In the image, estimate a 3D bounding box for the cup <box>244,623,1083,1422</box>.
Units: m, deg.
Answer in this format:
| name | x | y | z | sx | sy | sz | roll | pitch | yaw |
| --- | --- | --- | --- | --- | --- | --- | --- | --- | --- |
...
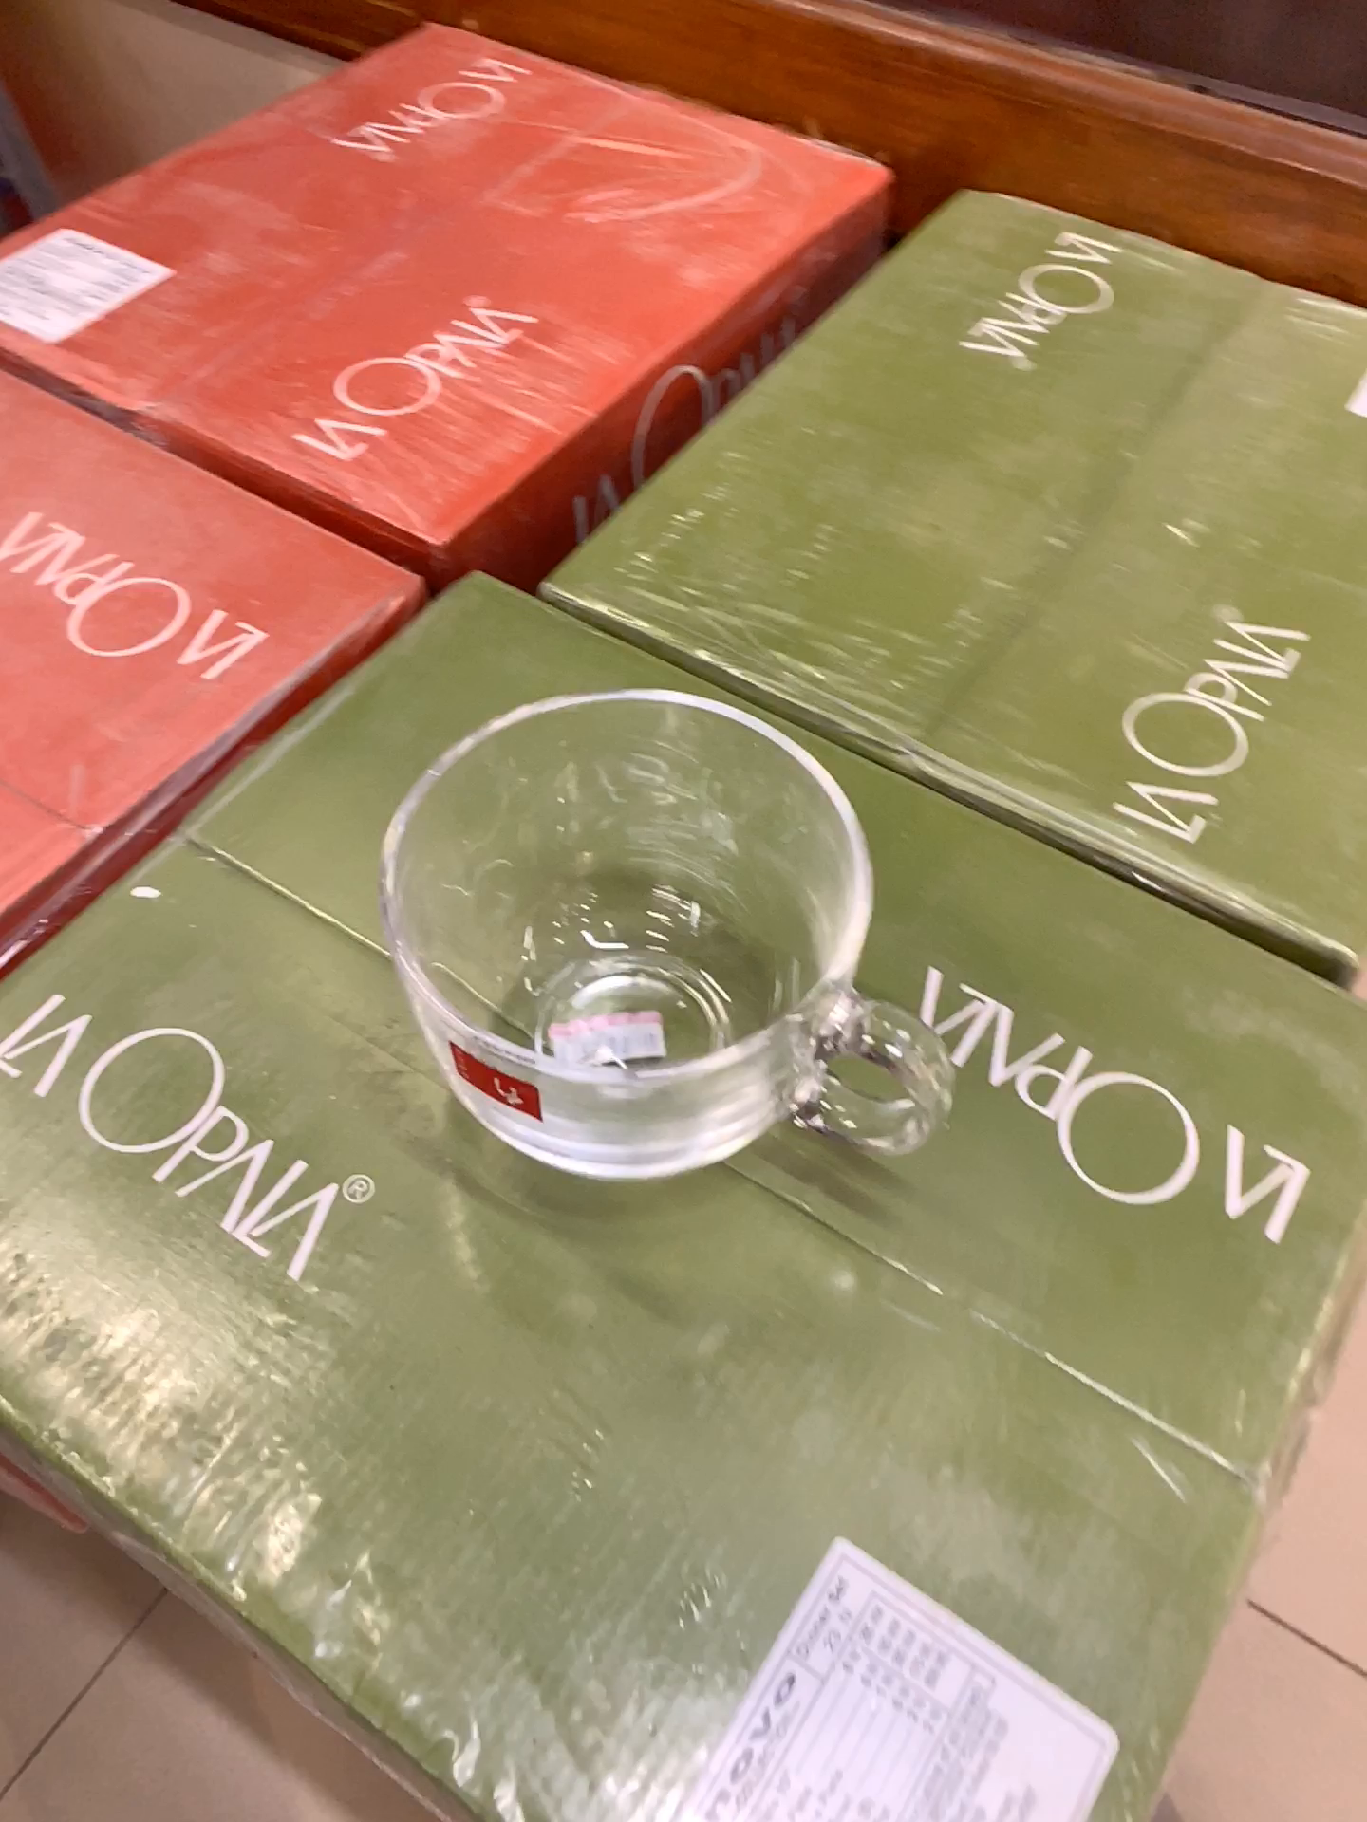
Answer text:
| name | x | y | z | sx | sy | sz | roll | pitch | yaw |
| --- | --- | --- | --- | --- | --- | --- | --- | --- | --- |
| cup | -0.002 | 0.022 | 0.331 | 0.140 | 0.090 | 0.110 | 25 | 56 | 17 |
